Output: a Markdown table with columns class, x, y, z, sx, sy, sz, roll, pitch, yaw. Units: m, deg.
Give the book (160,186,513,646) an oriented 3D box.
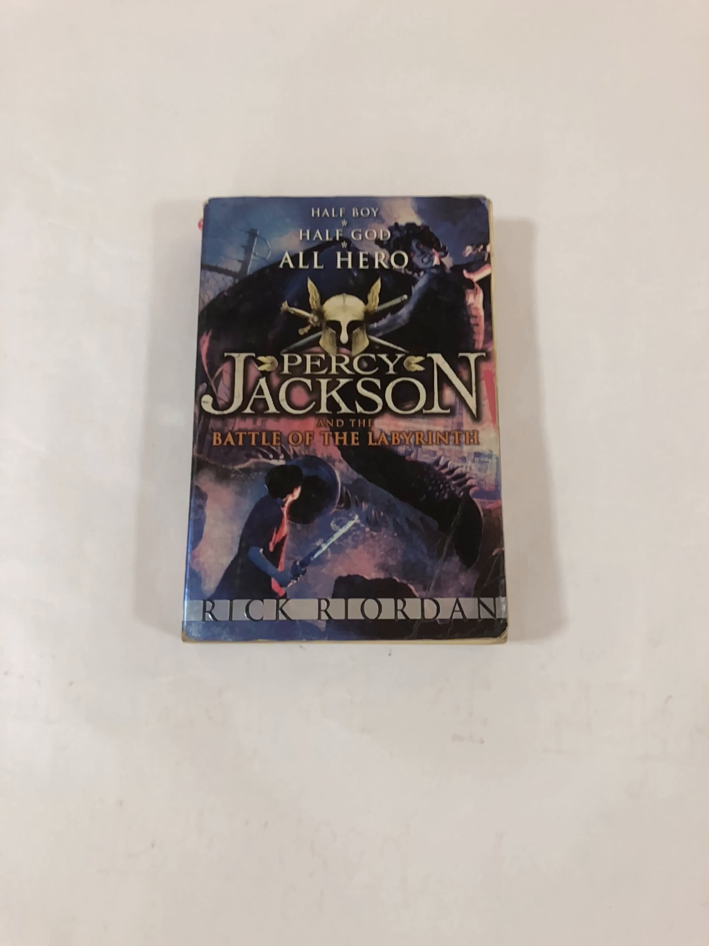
| class | x | y | z | sx | sy | sz | roll | pitch | yaw |
| --- | --- | --- | --- | --- | --- | --- | --- | --- | --- |
| book | -0.007 | -0.026 | 0.333 | 0.130 | 0.040 | 0.190 | 0 | 75 | 0 |
